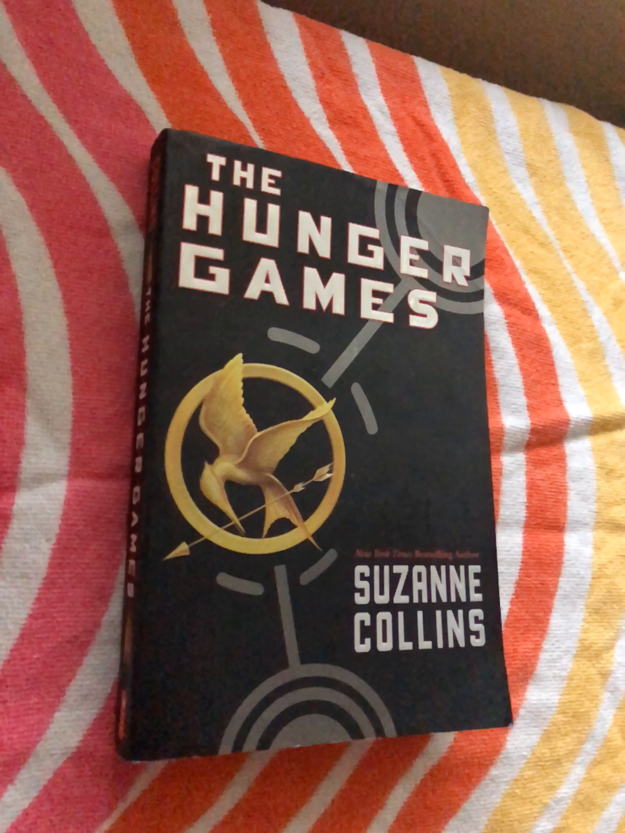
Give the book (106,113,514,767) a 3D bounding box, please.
[{"bbox_3d":[0.005,0.008,0.254,0.138,0.037,0.200,6,80,-24],"label":"book"}]
